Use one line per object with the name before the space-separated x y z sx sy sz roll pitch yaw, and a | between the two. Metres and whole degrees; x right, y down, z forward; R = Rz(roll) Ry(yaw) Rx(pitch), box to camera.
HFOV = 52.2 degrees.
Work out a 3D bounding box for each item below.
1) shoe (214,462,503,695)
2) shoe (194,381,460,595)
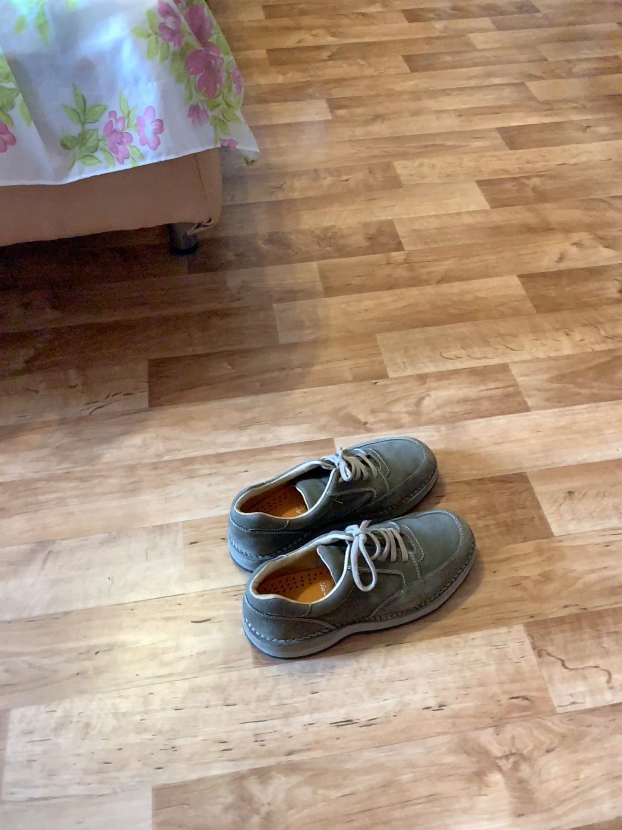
shoe | 0.053 0.185 0.736 0.290 0.120 0.120 -20 54 -15
shoe | 0.021 0.086 0.789 0.290 0.110 0.120 -23 54 -16
